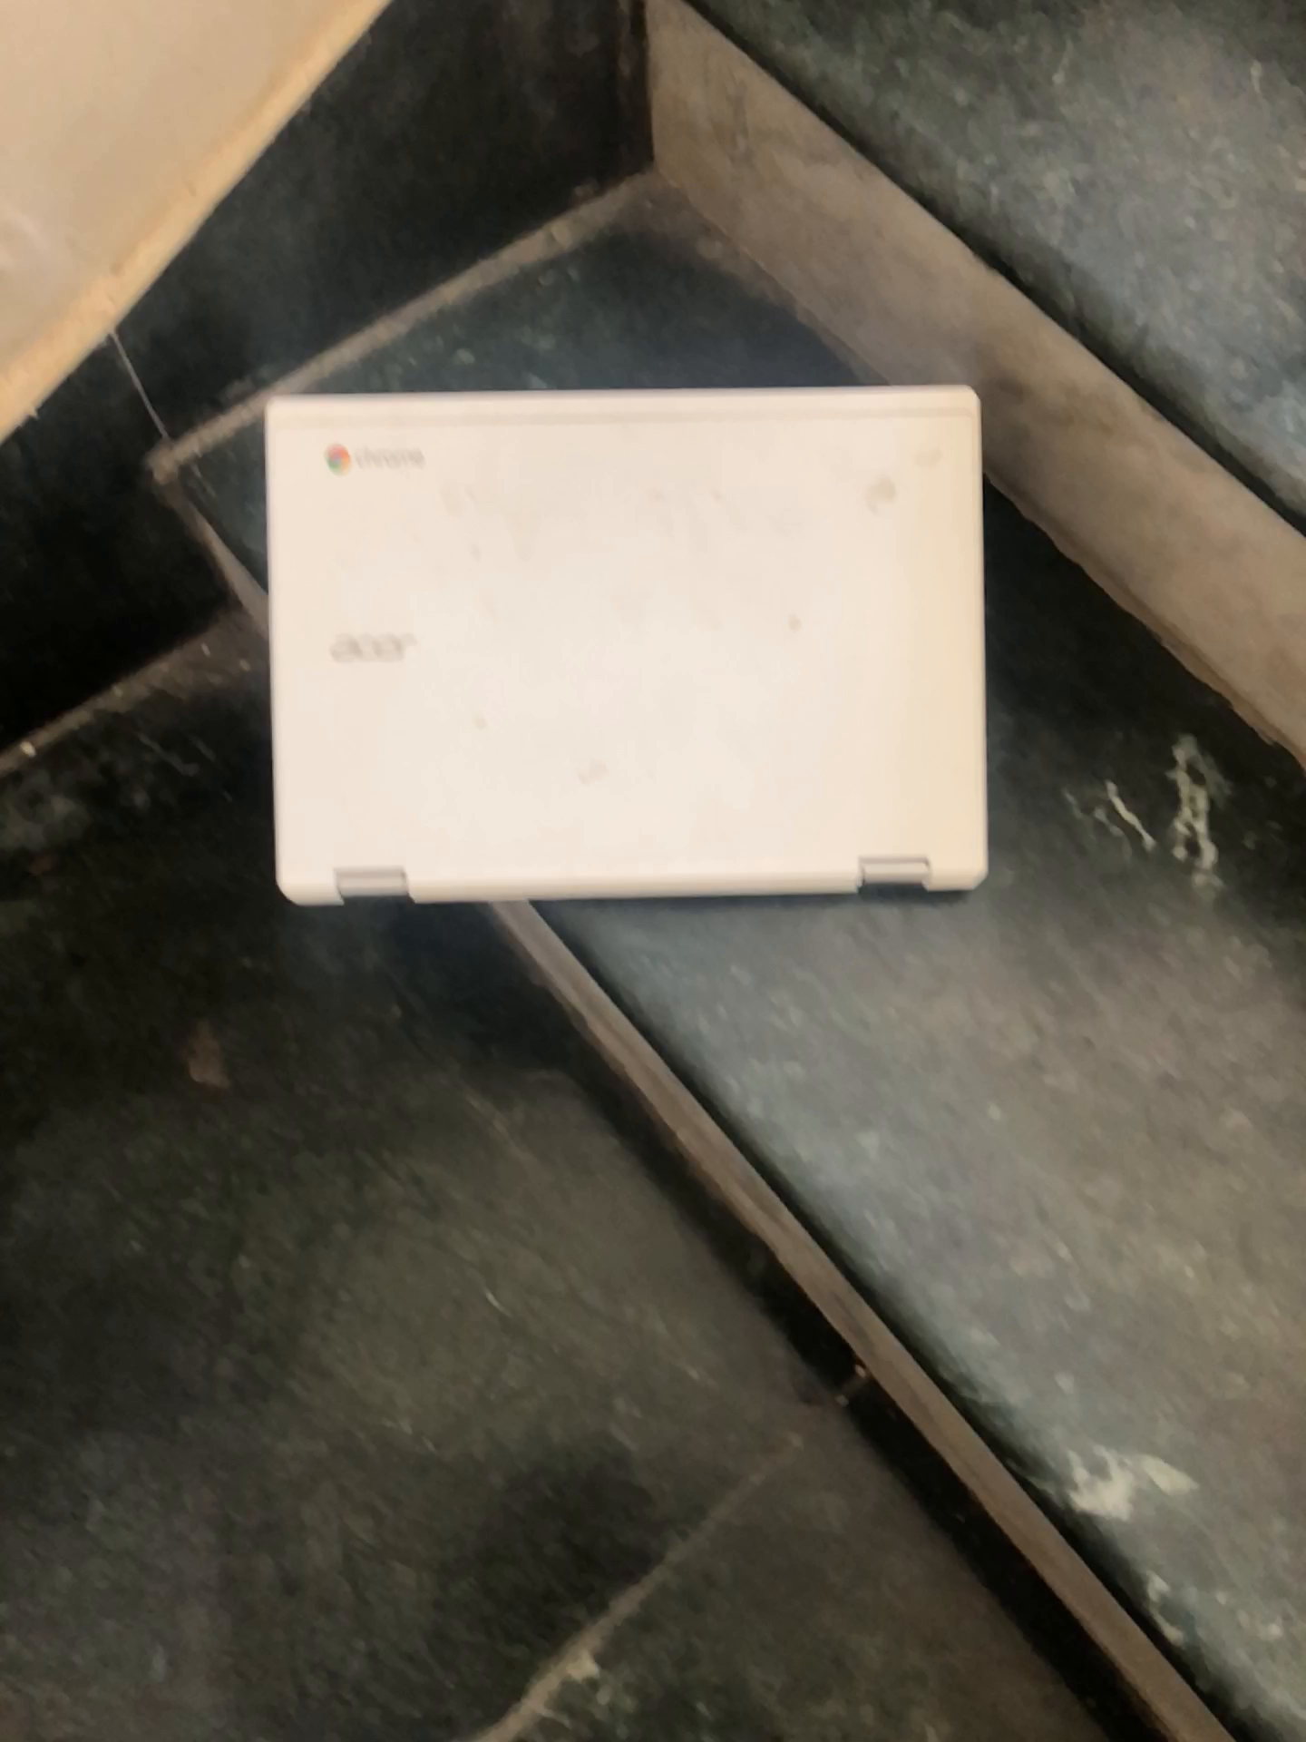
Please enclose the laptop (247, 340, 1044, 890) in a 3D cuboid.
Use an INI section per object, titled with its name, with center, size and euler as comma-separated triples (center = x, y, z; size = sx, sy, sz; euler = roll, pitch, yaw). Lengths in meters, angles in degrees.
[laptop]
center = -0.008, -0.102, 0.583
size = 0.282, 0.091, 0.190
euler = -1, 71, -2
